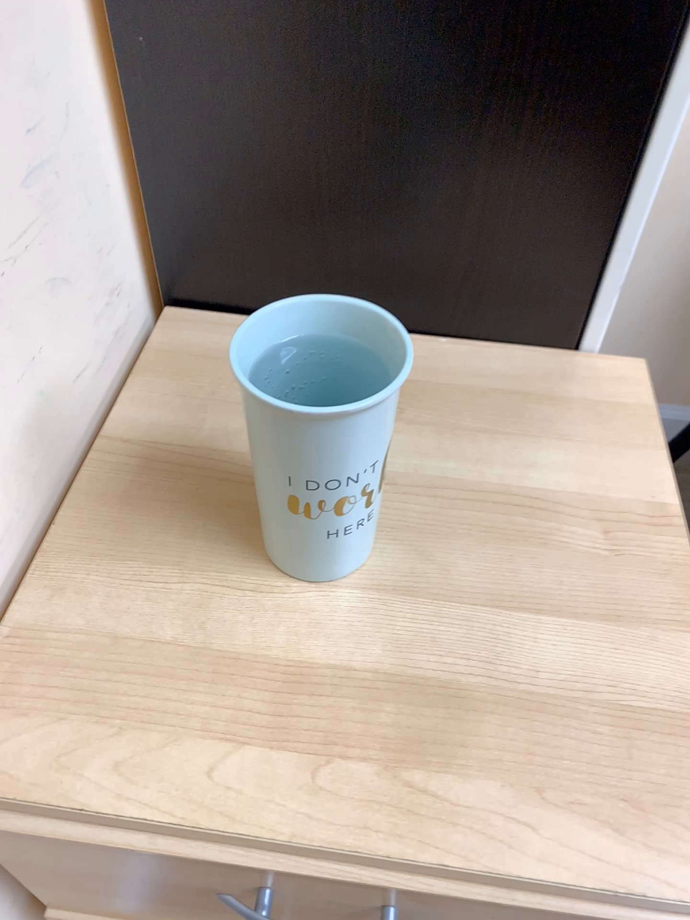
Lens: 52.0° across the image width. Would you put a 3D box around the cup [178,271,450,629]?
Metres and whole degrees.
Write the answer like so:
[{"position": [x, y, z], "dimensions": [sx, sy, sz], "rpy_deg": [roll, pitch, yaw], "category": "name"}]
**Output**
[{"position": [-0.016, -0.003, 0.404], "dimensions": [0.090, 0.155, 0.100], "rpy_deg": [32, 54, 25], "category": "cup"}]
